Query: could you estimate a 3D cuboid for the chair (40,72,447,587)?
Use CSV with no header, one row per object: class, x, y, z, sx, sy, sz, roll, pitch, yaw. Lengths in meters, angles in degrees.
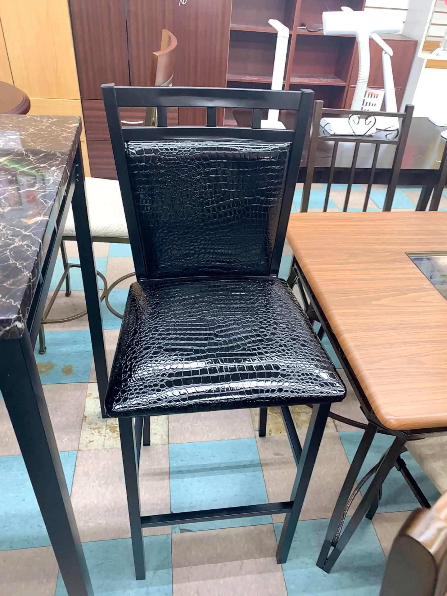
chair,-0.012,0.140,0.953,0.444,1.025,0.419,-1,37,-7
